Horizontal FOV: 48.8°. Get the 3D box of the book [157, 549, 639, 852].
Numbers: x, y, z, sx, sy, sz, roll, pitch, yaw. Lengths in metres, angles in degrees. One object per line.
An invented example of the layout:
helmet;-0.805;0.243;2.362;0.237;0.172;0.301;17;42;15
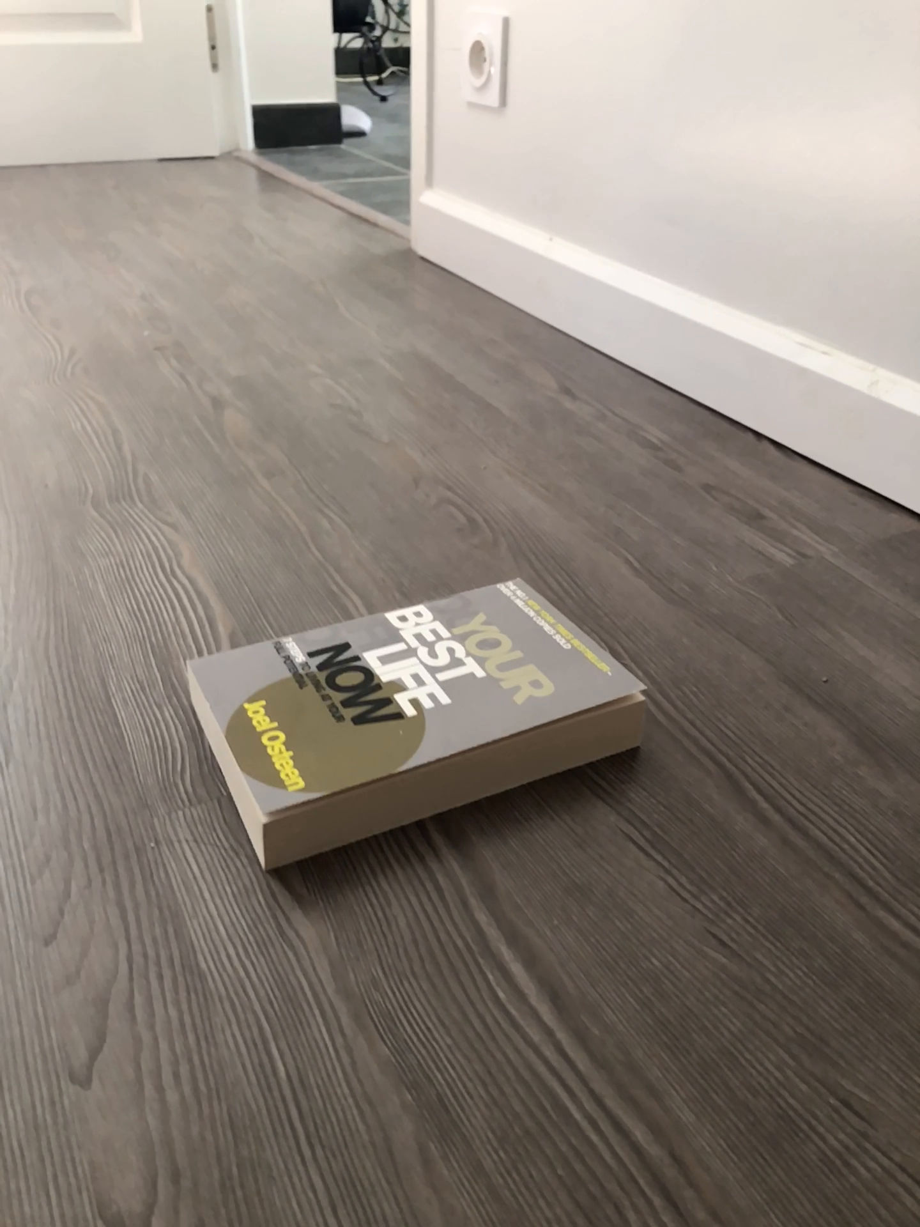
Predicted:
book;-0.034;0.032;0.510;0.202;0.030;0.137;-14;36;-23
